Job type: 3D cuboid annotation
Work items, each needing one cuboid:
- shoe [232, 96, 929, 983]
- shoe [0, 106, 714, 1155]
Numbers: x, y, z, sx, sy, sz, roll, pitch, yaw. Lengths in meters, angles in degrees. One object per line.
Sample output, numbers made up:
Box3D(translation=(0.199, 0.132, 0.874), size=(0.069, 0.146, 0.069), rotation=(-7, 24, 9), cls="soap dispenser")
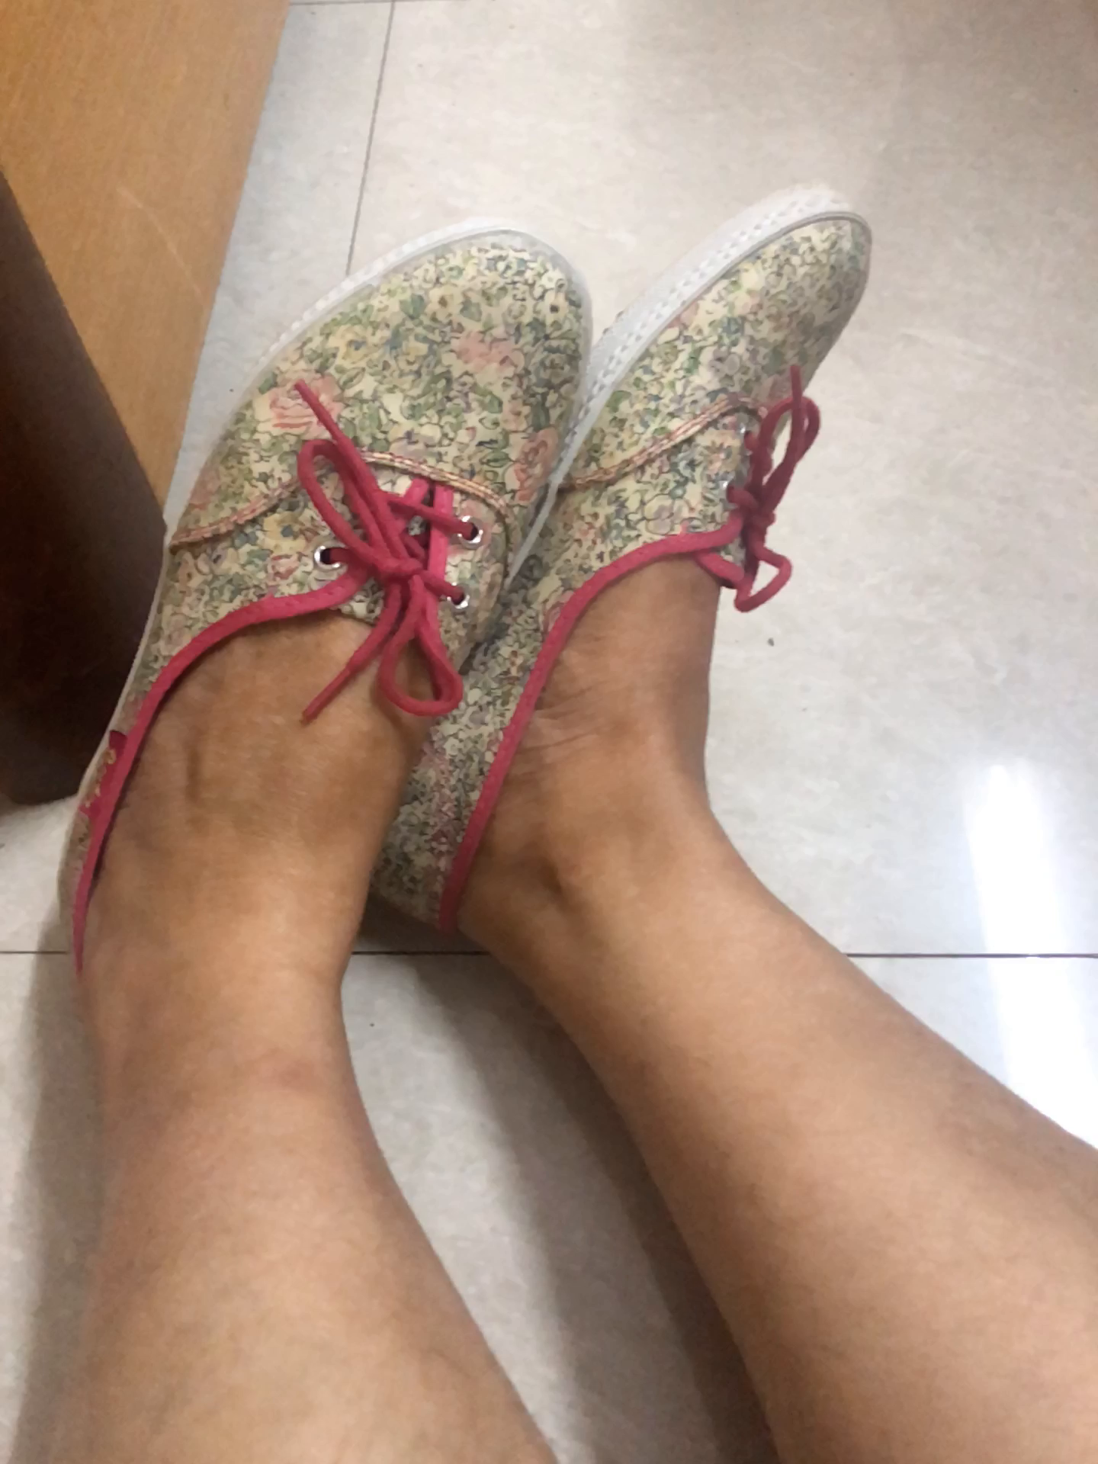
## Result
Box3D(translation=(0.010, -0.049, 0.389), size=(0.070, 0.090, 0.260), rotation=(35, 100, 32), cls="shoe")
Box3D(translation=(-0.067, -0.019, 0.334), size=(0.260, 0.090, 0.070), rotation=(-63, 29, 10), cls="shoe")
